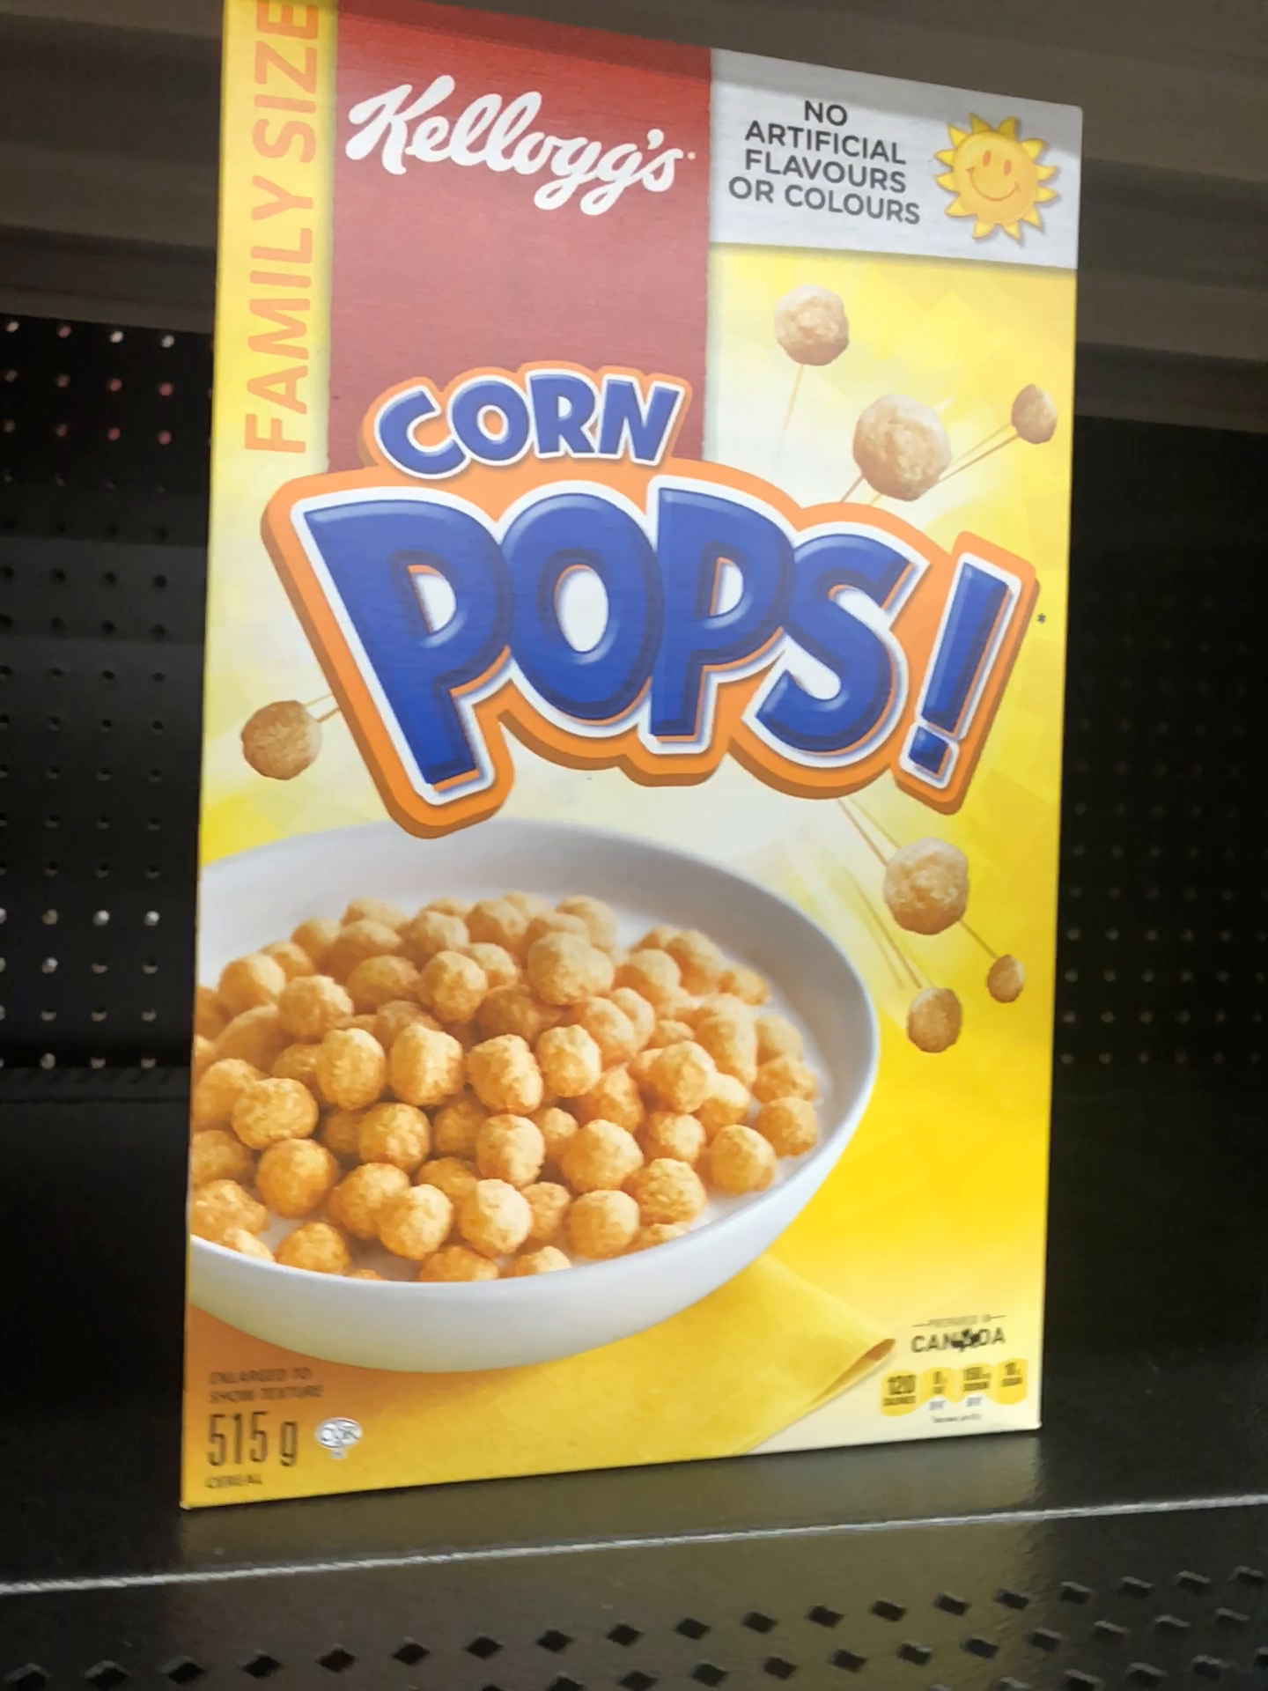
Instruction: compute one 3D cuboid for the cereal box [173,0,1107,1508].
[{"bbox_3d":[-0.001,-0.029,0.345,0.200,0.320,0.090,2,-1,-15],"label":"cereal box"}]
